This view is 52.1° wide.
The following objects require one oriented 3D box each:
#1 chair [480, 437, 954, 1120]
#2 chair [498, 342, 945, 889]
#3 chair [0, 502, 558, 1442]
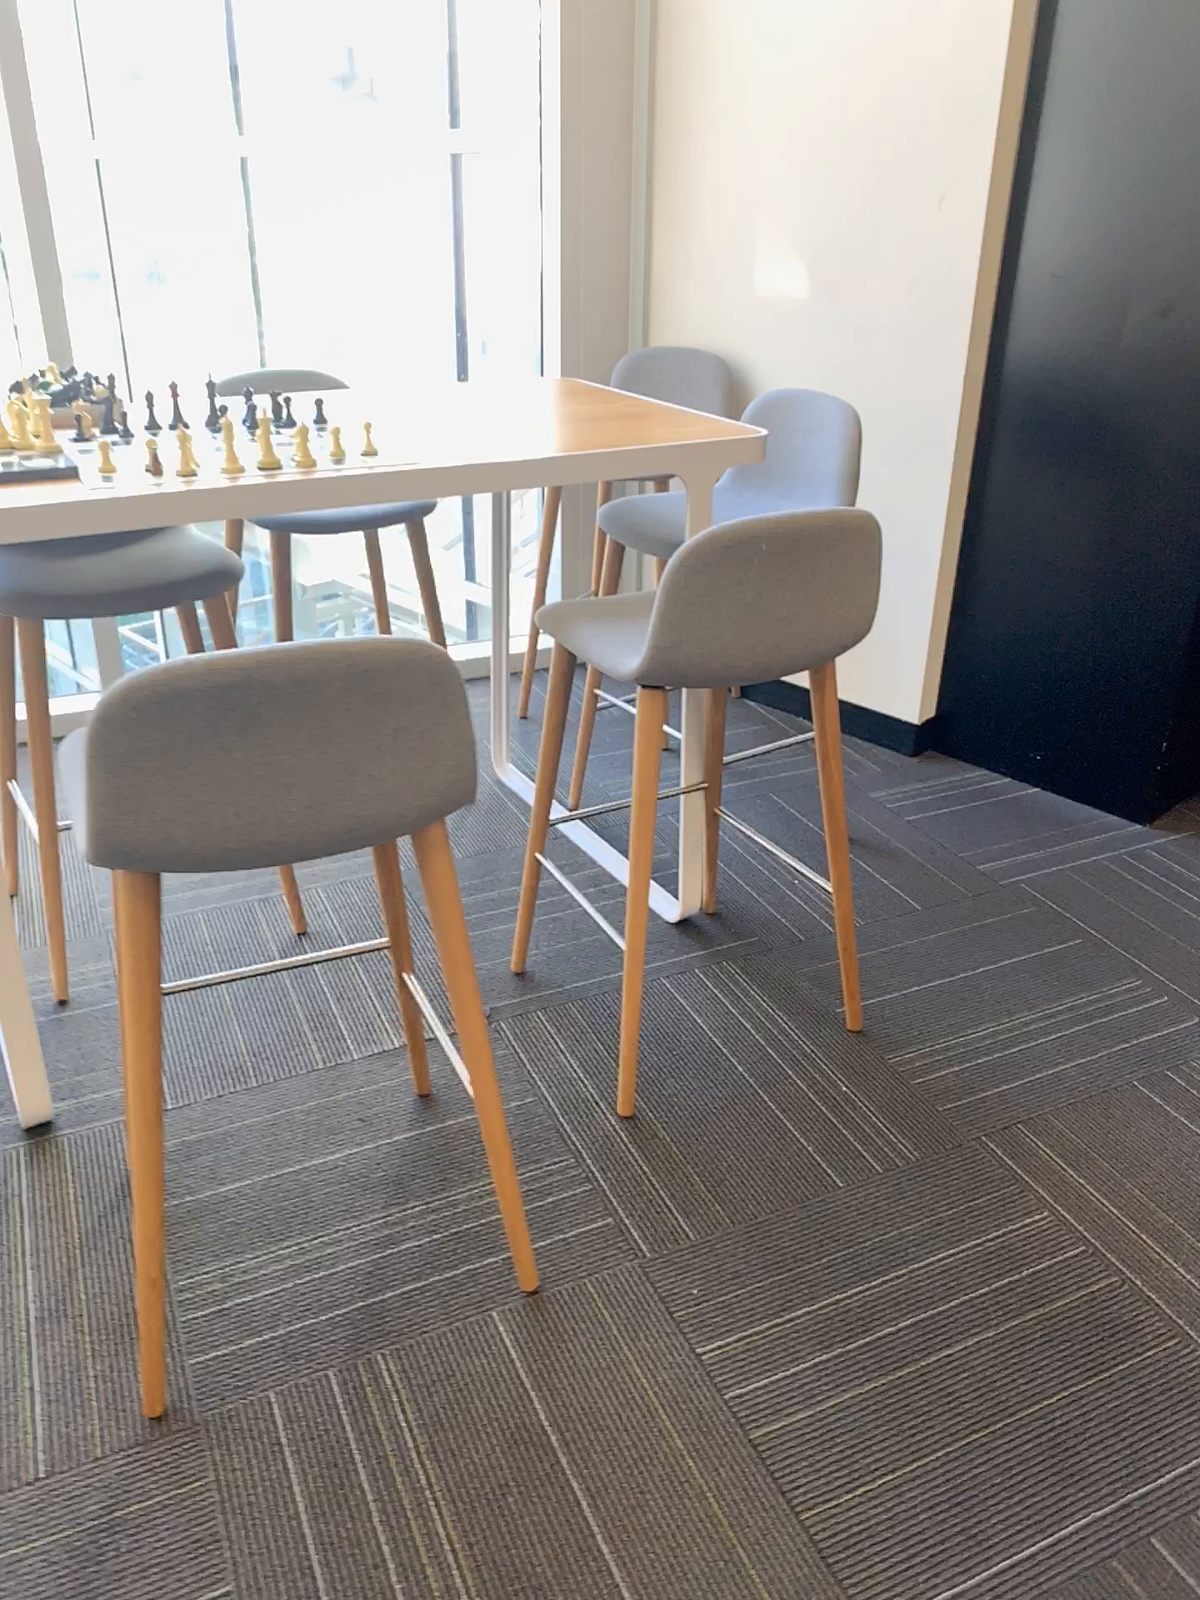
[{"bbox_3d":[0.151,-0.071,2.082,0.500,0.935,0.553,-13,29,-26],"label":"chair"},{"bbox_3d":[0.220,-0.476,2.833,0.620,0.994,0.784,-13,29,-26],"label":"chair"},{"bbox_3d":[-0.411,0.170,1.559,0.550,0.935,0.553,-10,28,-21],"label":"chair"}]
